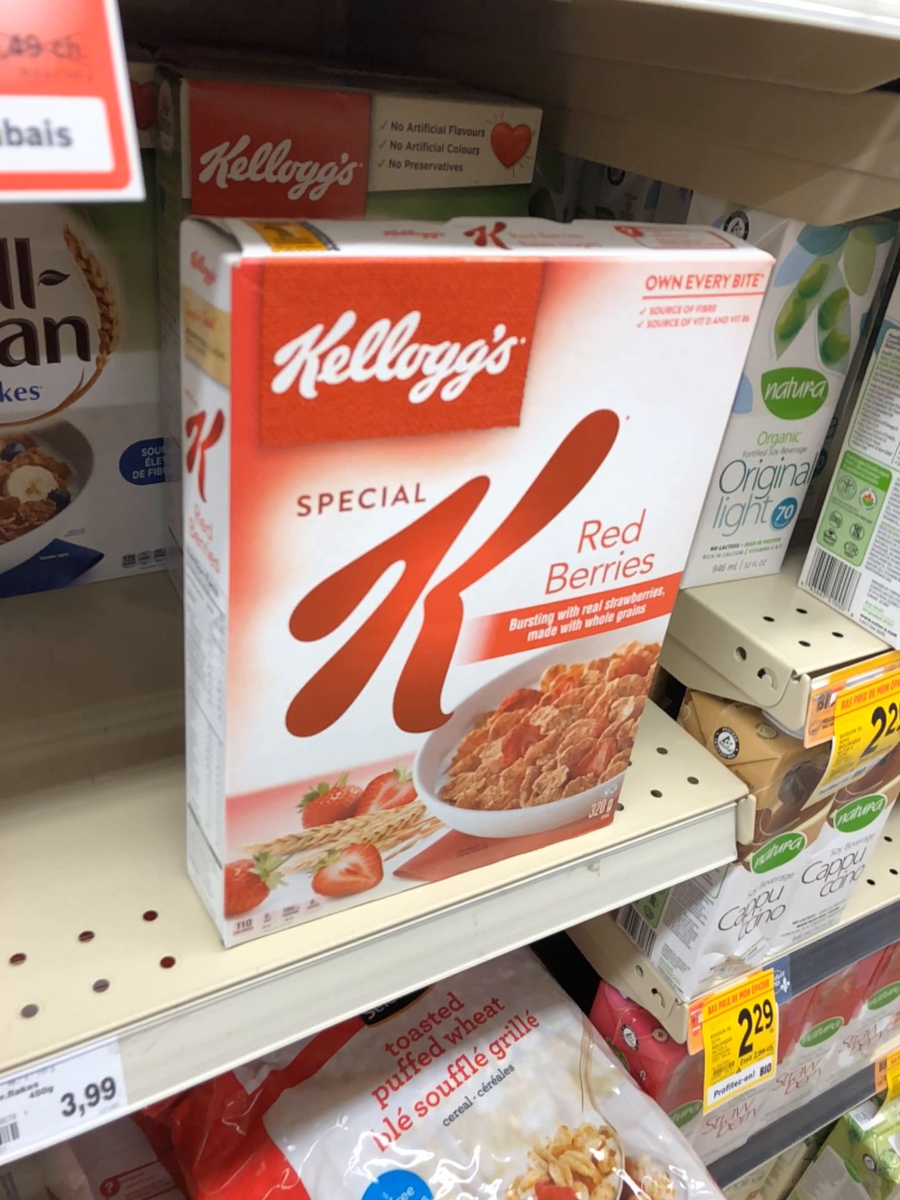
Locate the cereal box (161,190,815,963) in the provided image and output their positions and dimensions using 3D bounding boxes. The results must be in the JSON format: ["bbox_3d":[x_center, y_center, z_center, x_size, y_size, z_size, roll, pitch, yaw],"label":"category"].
[{"bbox_3d":[0.002,-0.004,0.390,0.210,0.278,0.060,-10,37,-28],"label":"cereal box"}]
